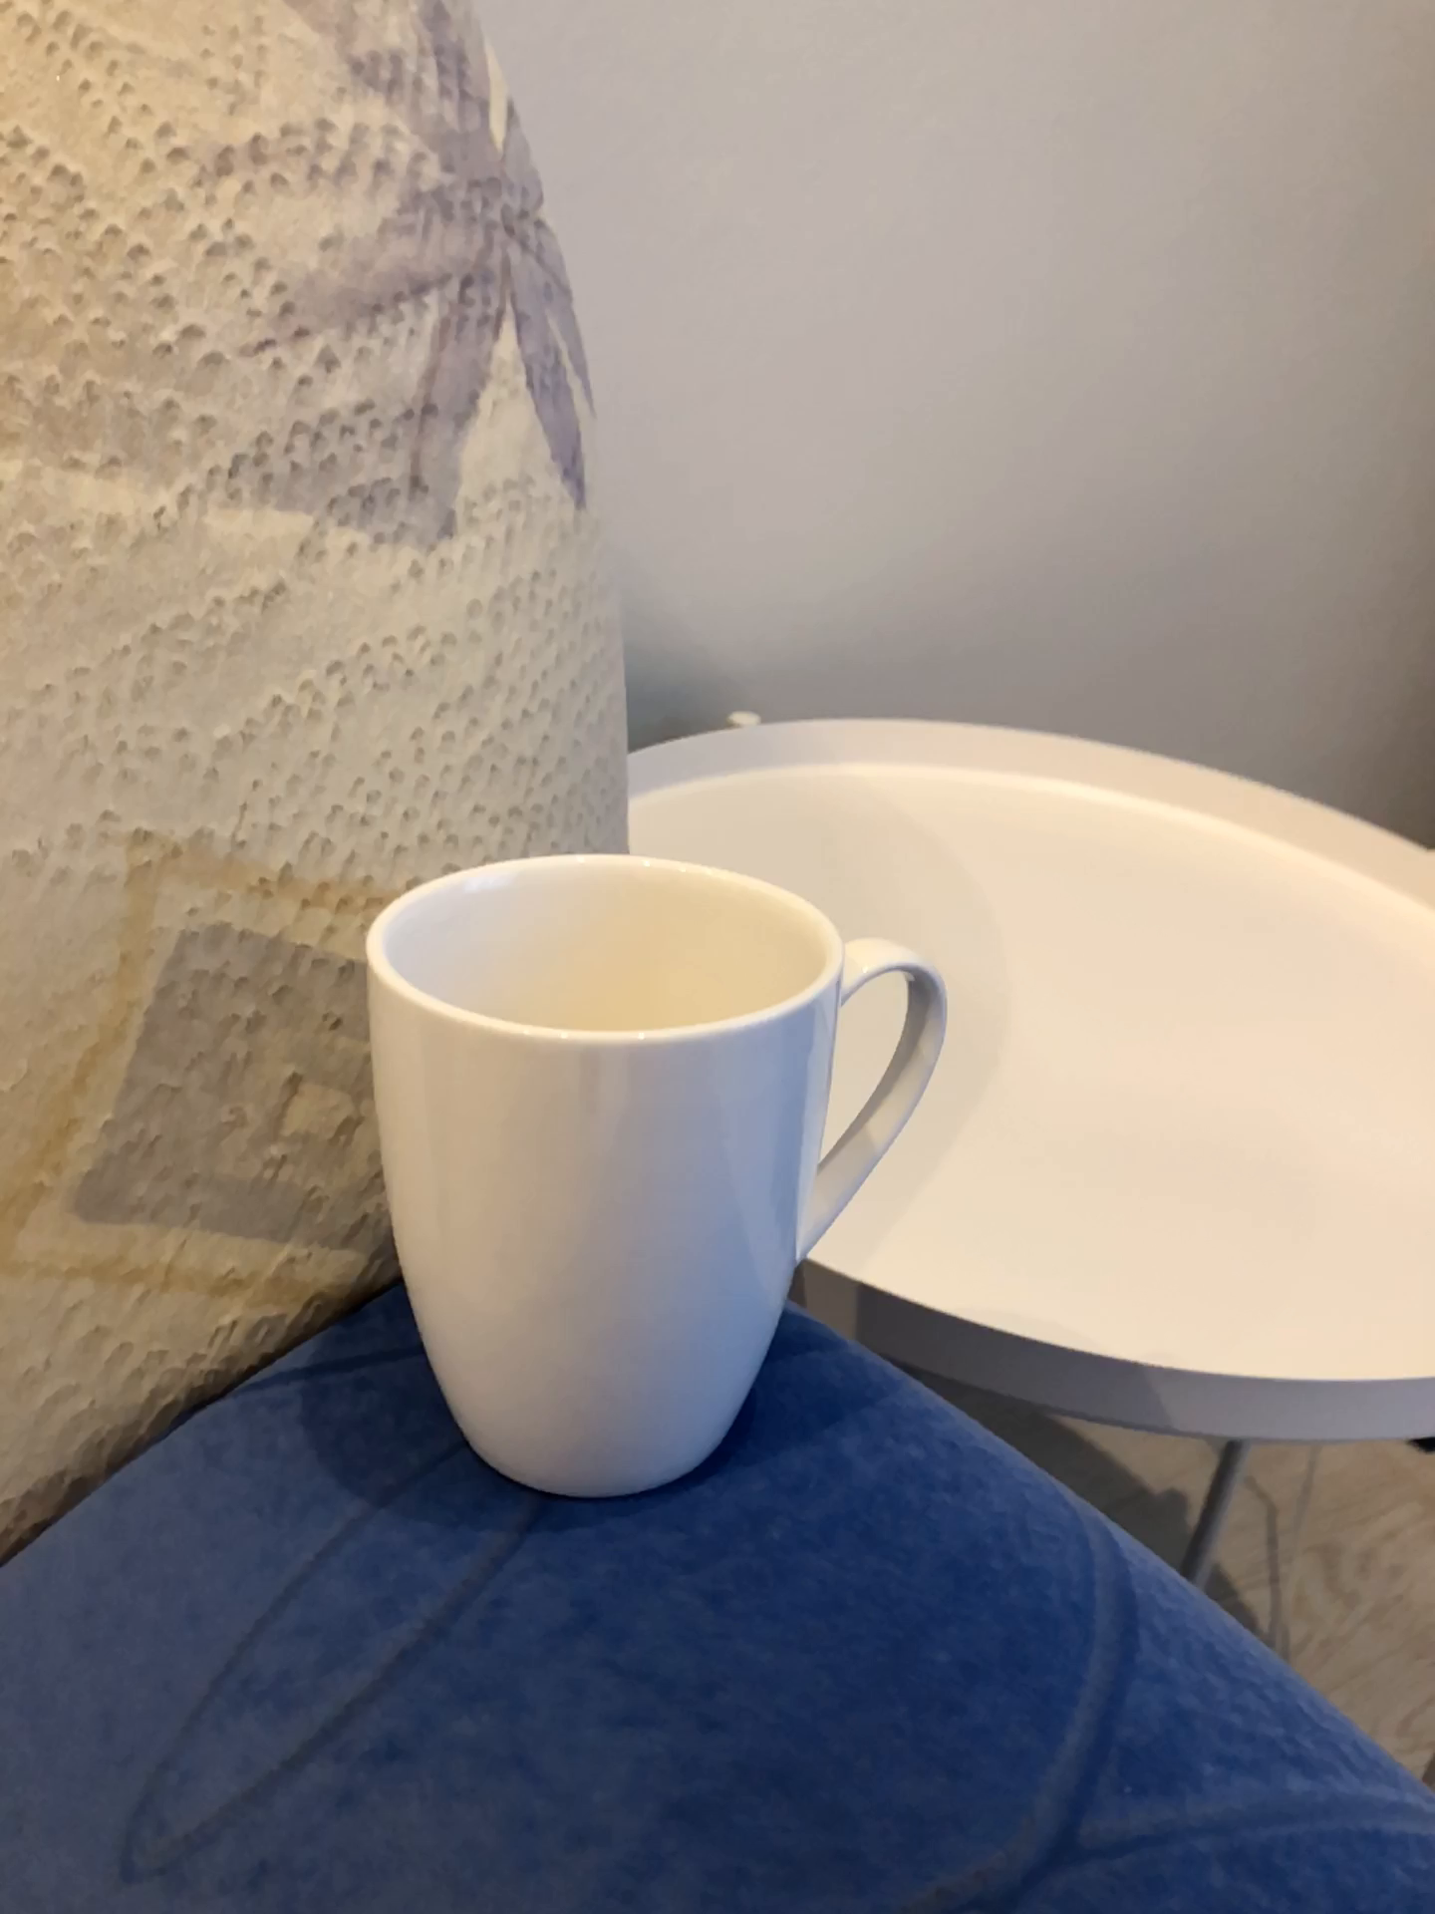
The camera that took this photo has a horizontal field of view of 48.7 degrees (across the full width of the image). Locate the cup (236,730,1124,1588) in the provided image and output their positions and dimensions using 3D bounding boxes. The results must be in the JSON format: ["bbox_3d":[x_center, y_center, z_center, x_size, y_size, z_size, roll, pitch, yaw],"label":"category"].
[{"bbox_3d":[-0.007,0.022,0.259,0.110,0.079,0.080,-18,35,-38],"label":"cup"}]
